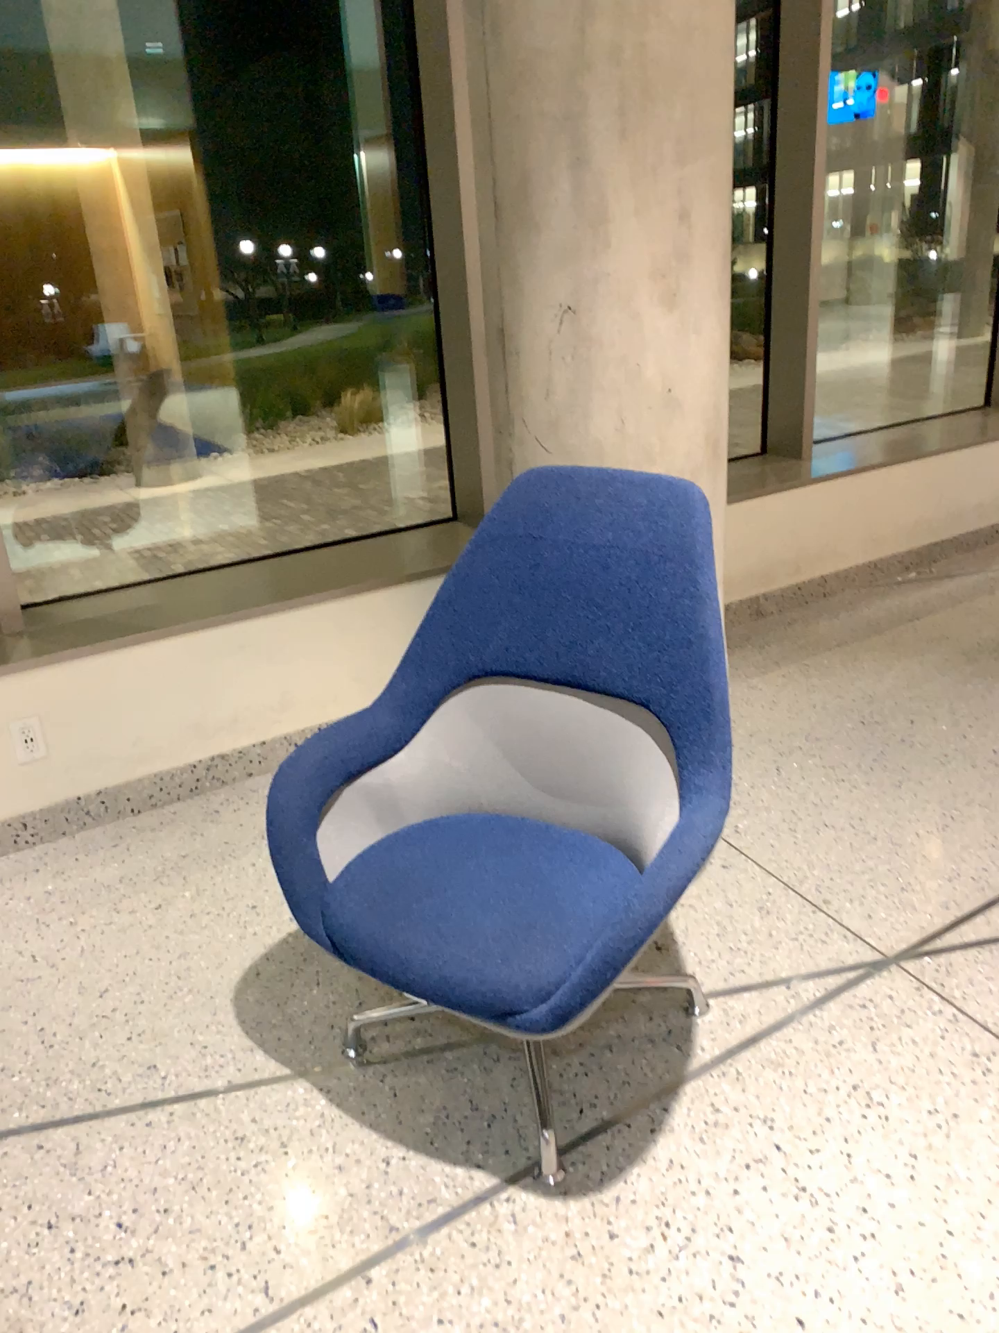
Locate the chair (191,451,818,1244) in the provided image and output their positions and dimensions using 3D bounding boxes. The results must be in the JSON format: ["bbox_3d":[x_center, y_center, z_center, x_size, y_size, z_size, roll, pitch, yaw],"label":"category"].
[{"bbox_3d":[0.040,0.201,1.716,0.717,0.963,0.636,14,27,37],"label":"chair"}]
